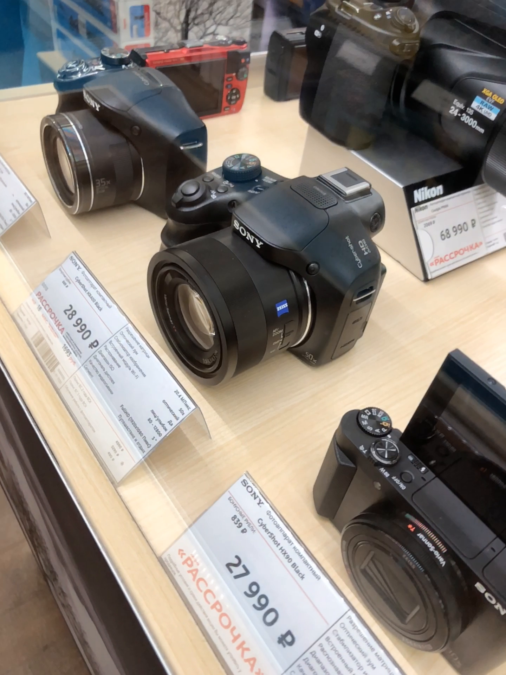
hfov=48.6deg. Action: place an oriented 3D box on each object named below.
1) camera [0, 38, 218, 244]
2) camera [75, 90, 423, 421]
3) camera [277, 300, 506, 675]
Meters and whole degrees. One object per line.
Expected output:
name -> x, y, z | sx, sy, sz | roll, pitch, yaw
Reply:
camera -> -0.101, -0.139, 0.383 | 0.096, 0.073, 0.122 | -24, 54, -29
camera -> -0.010, -0.052, 0.295 | 0.104, 0.086, 0.137 | -24, 54, -29
camera -> 0.077, 0.074, 0.208 | 0.056, 0.113, 0.125 | -24, 54, -29
